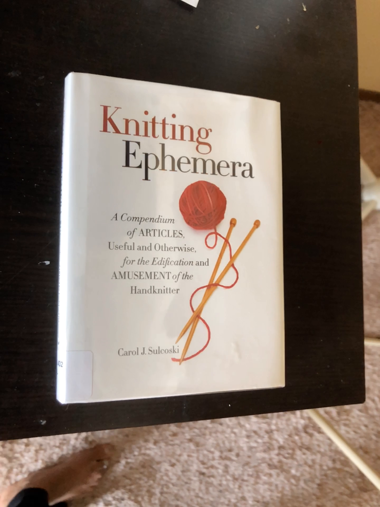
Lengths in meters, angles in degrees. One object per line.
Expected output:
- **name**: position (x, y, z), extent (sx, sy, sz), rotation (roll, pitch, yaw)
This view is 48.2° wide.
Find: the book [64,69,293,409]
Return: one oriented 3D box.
- **book**: position (-0.005, -0.008, 0.255), extent (0.132, 0.029, 0.178), rotation (1, 86, -18)
